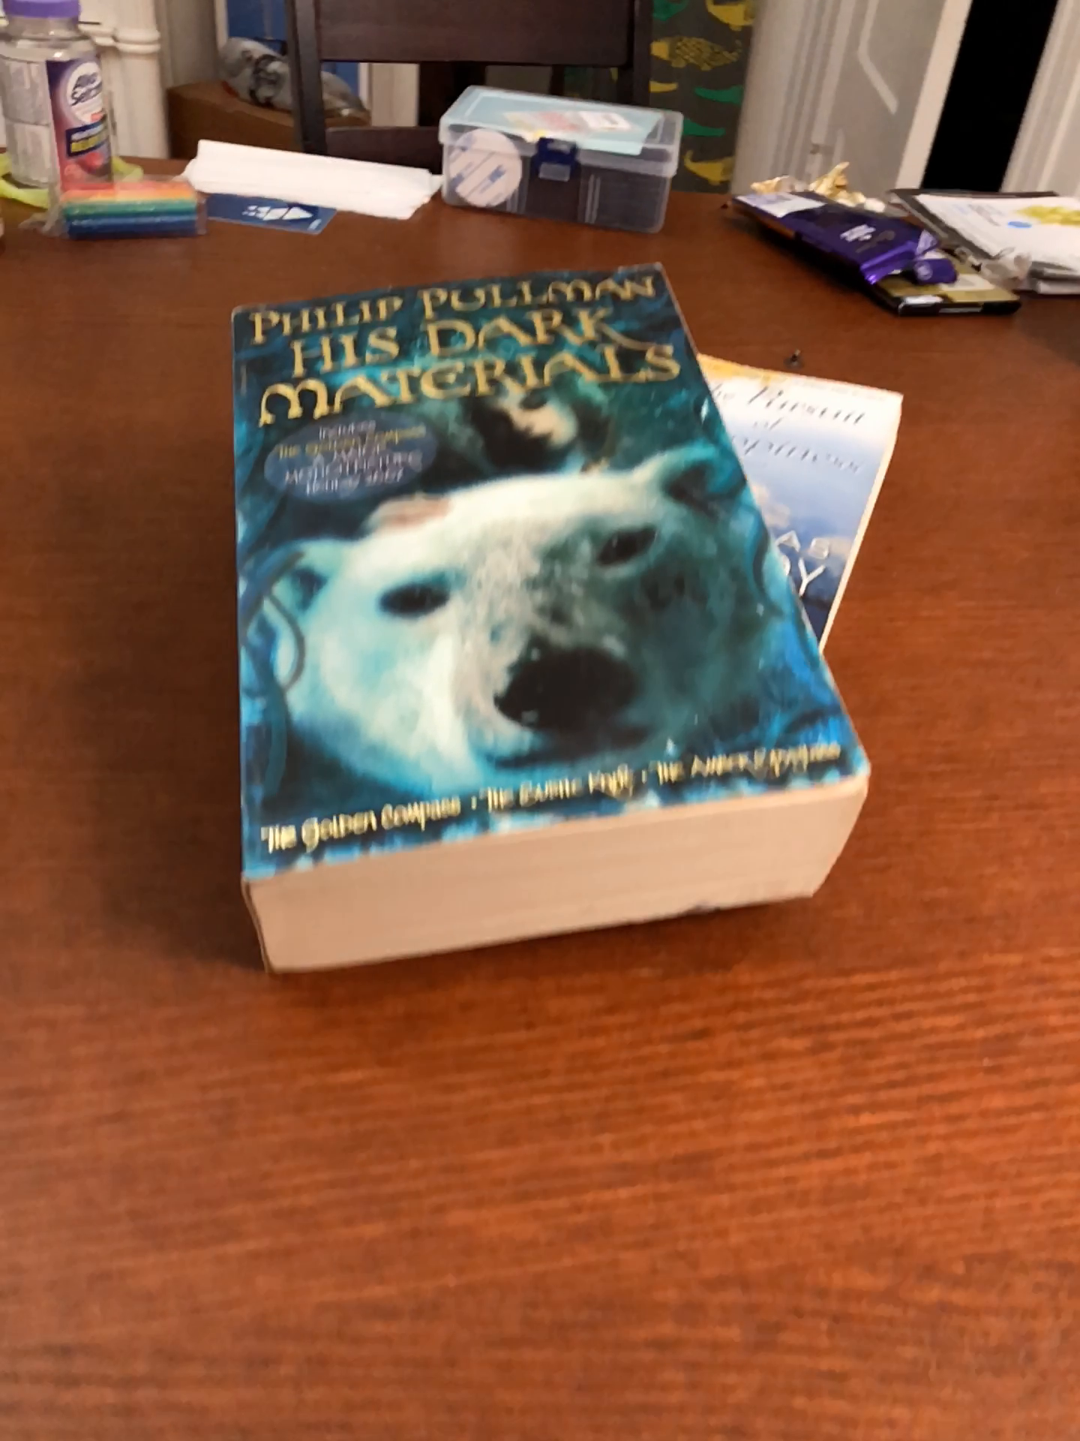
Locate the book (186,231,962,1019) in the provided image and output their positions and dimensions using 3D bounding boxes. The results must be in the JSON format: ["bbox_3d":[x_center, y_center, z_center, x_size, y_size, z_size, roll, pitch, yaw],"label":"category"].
[{"bbox_3d":[-0.011,-0.049,0.354,0.170,0.060,0.241,-7,53,-9],"label":"book"}]

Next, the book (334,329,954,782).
[{"bbox_3d":[0.056,-0.086,0.480,0.170,0.040,0.241,15,41,20],"label":"book"}]
